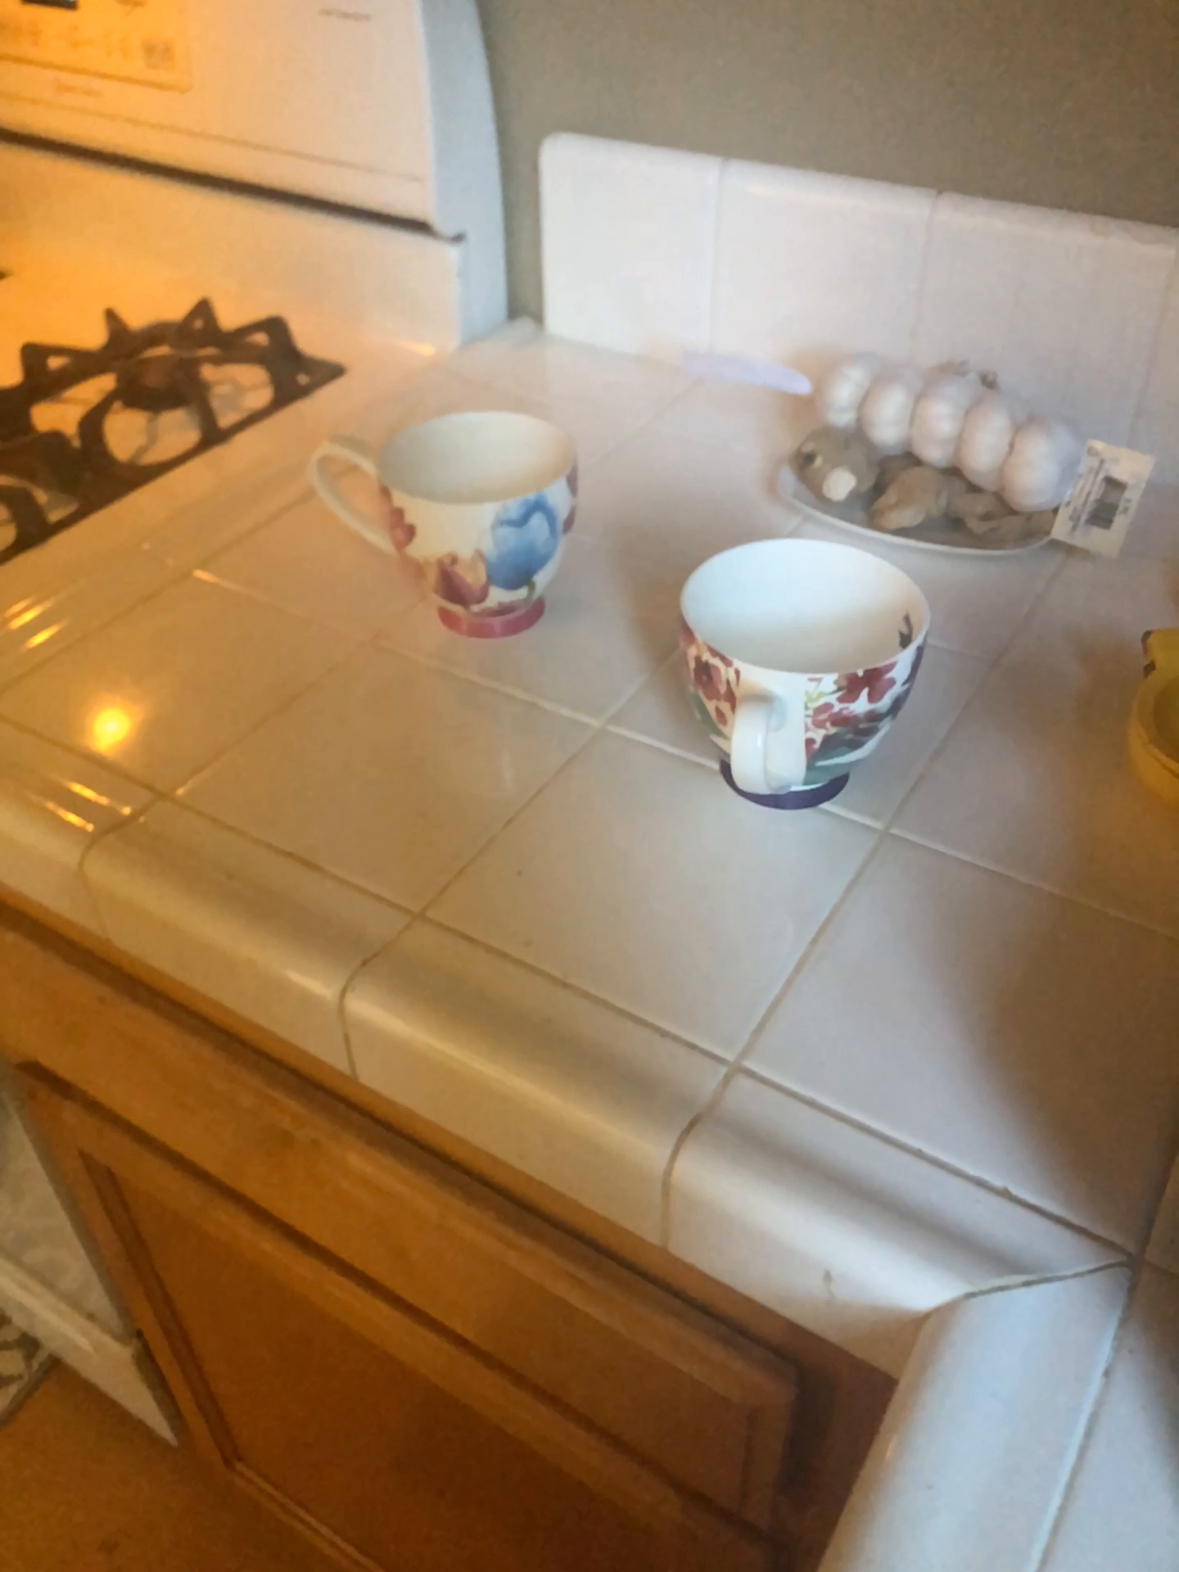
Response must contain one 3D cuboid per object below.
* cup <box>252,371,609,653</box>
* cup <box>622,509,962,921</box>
[{"bbox_3d":[-0.081,-0.153,0.710,0.150,0.079,0.111,18,44,21],"label":"cup"},{"bbox_3d":[0.090,-0.037,0.573,0.110,0.089,0.151,12,43,15],"label":"cup"}]
